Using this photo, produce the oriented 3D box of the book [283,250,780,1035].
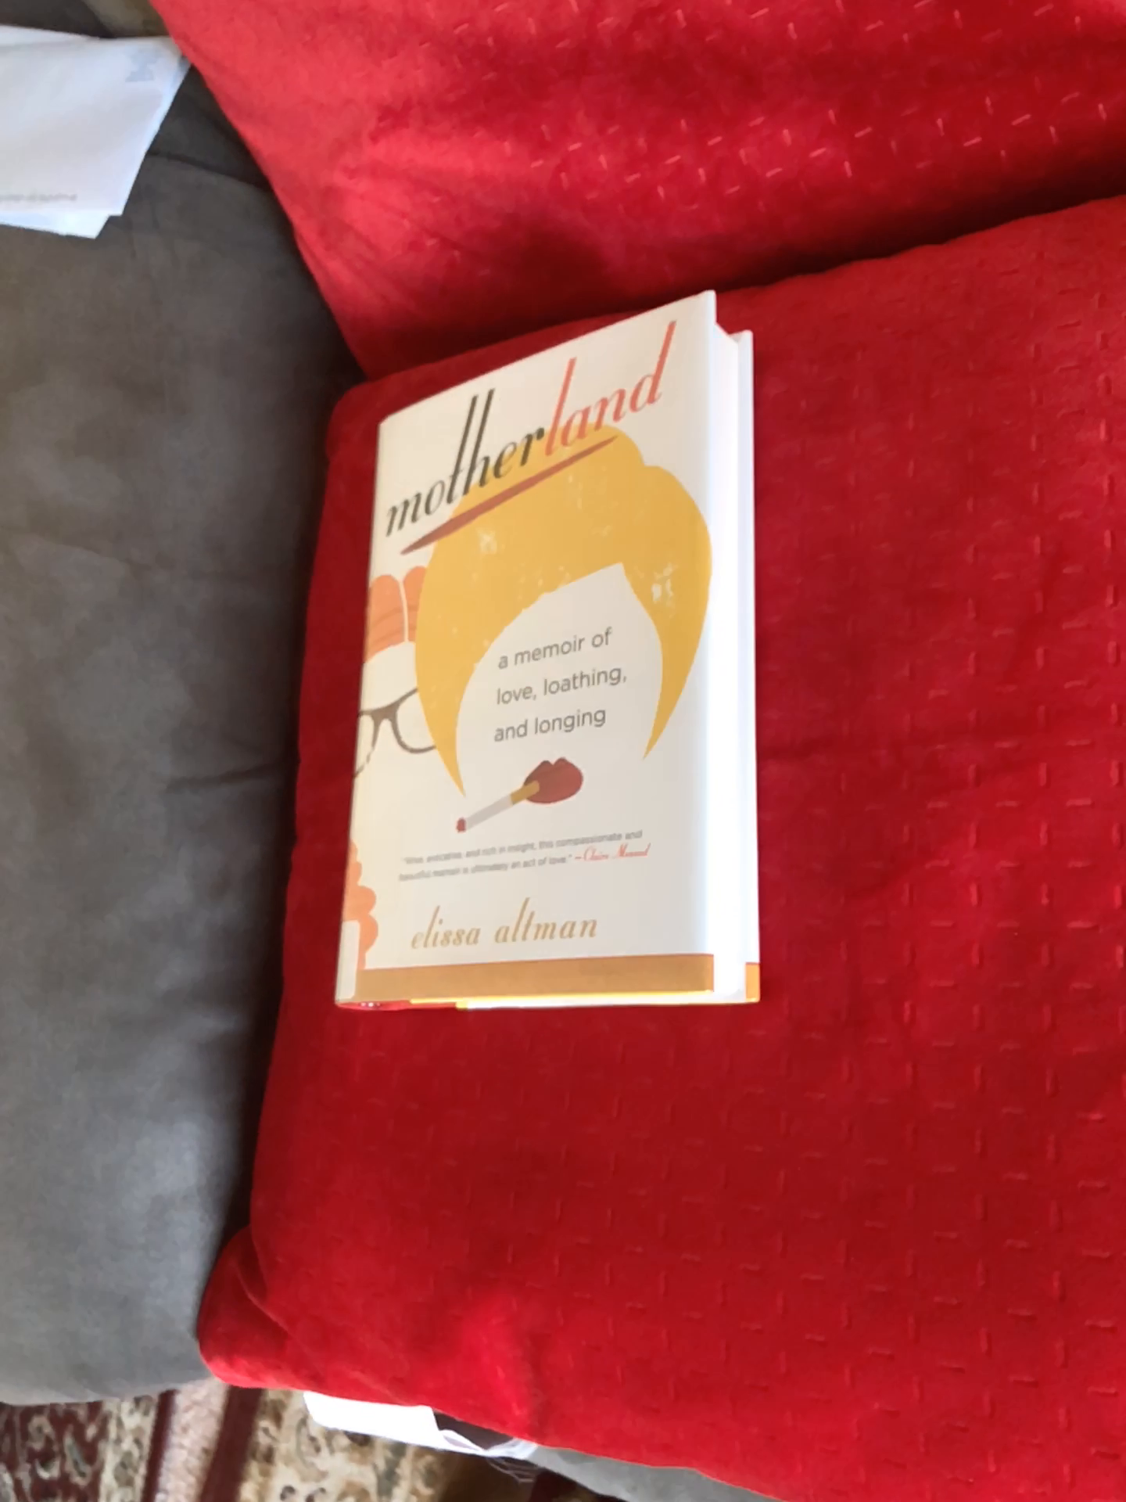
[{"bbox_3d":[-0.010,-0.024,0.373,0.140,0.040,0.210,-9,72,34],"label":"book"}]
